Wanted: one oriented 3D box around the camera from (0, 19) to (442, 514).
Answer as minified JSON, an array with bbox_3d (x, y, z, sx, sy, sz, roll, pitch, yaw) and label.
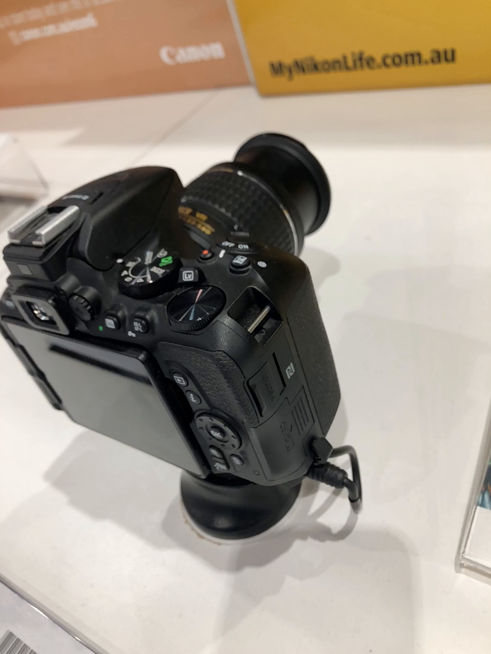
[{"bbox_3d":[-0.011,-0.038,0.234,0.128,0.097,0.163,12,50,34],"label":"camera"}]
